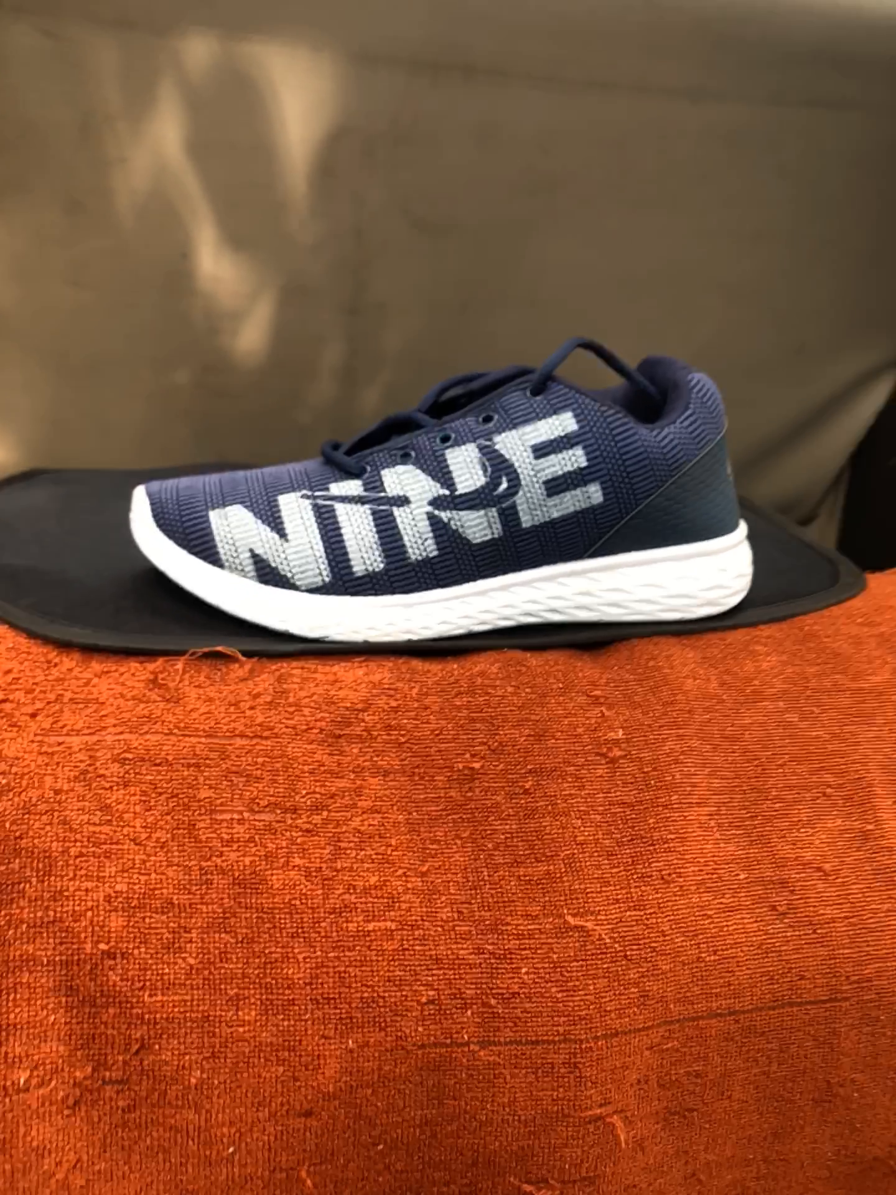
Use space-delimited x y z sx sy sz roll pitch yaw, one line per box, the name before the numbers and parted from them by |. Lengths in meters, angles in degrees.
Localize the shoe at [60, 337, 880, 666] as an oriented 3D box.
shoe | 0.006 -0.052 0.423 0.290 0.100 0.130 -3 20 -10
